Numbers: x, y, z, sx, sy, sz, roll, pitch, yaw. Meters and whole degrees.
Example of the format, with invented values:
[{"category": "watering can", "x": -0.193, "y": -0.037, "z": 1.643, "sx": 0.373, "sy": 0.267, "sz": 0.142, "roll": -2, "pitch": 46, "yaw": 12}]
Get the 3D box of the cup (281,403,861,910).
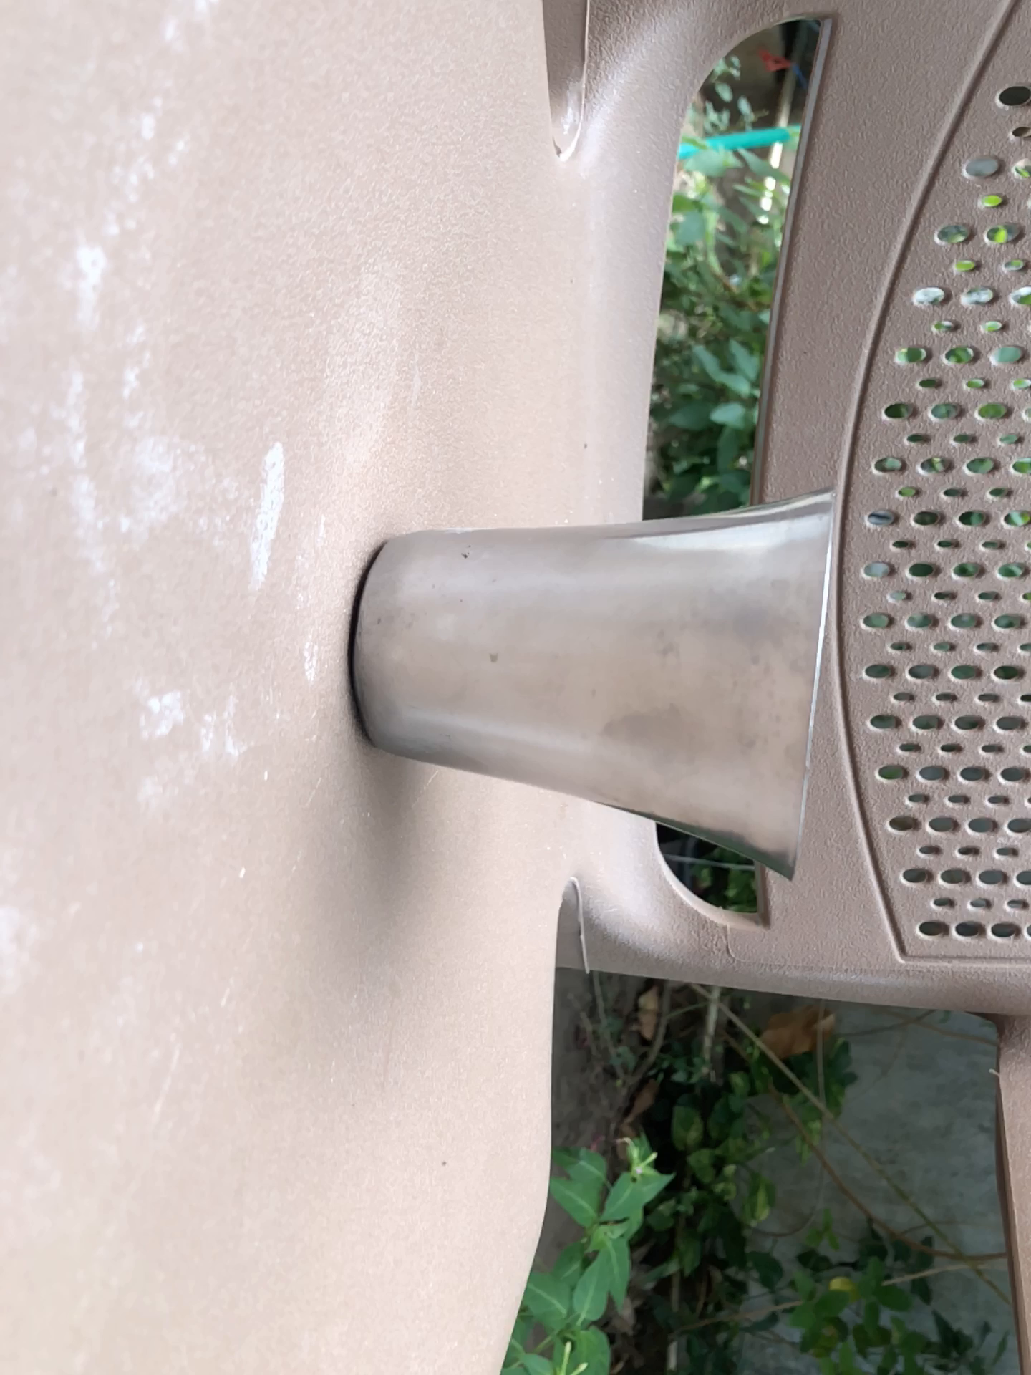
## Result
[{"category": "cup", "x": 0.019, "y": -0.006, "z": 0.251, "sx": 0.070, "sy": 0.099, "sz": 0.080, "roll": 60, "pitch": 39, "yaw": -62}]
